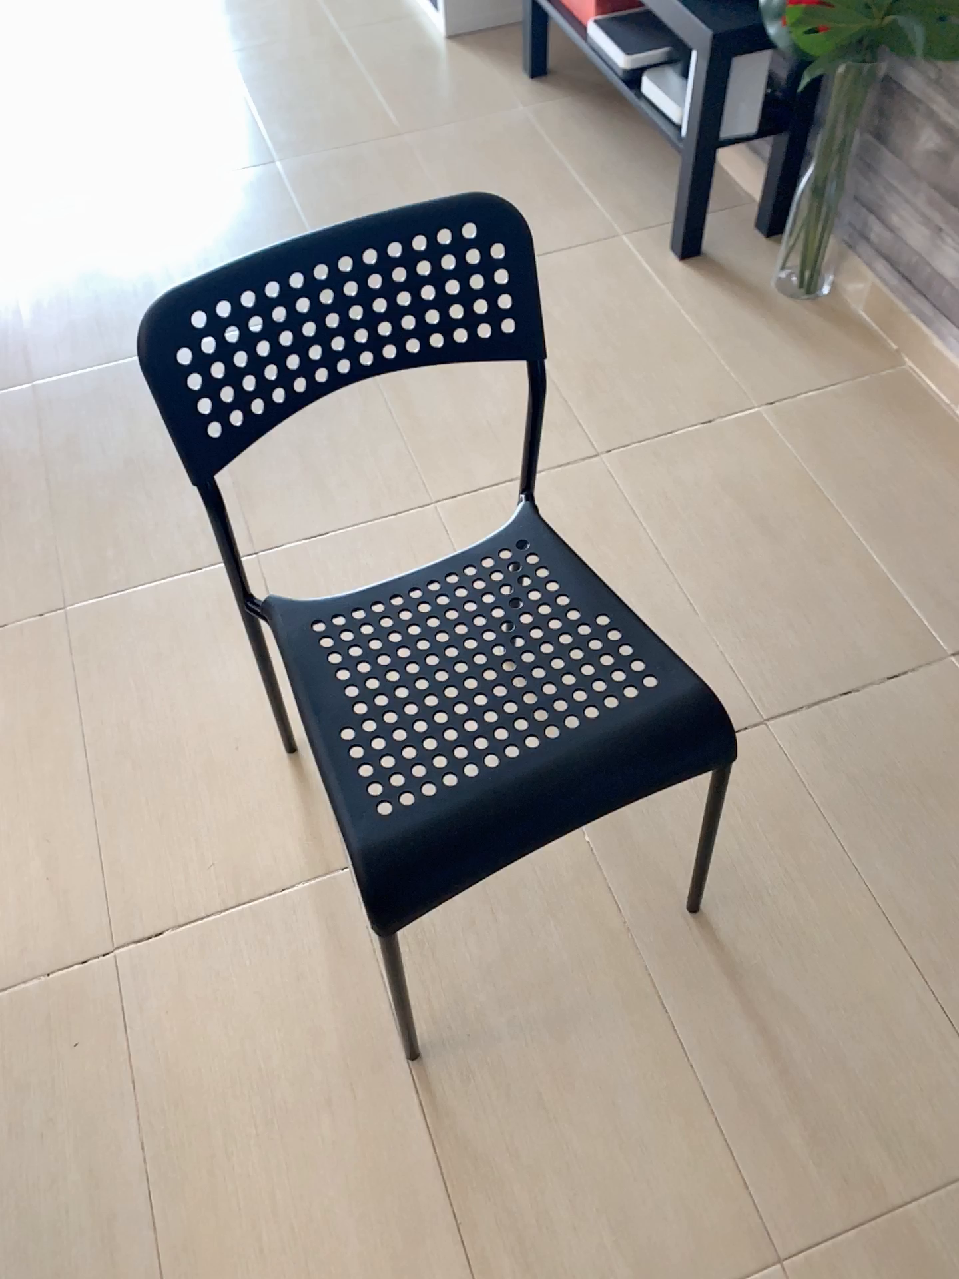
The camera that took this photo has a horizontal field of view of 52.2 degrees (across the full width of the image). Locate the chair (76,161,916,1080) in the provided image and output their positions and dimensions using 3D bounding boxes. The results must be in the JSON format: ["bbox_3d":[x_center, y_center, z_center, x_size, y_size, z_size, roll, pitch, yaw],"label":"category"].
[{"bbox_3d":[-0.012,0.027,0.976,0.420,0.687,0.492,-23,57,-14],"label":"chair"}]
